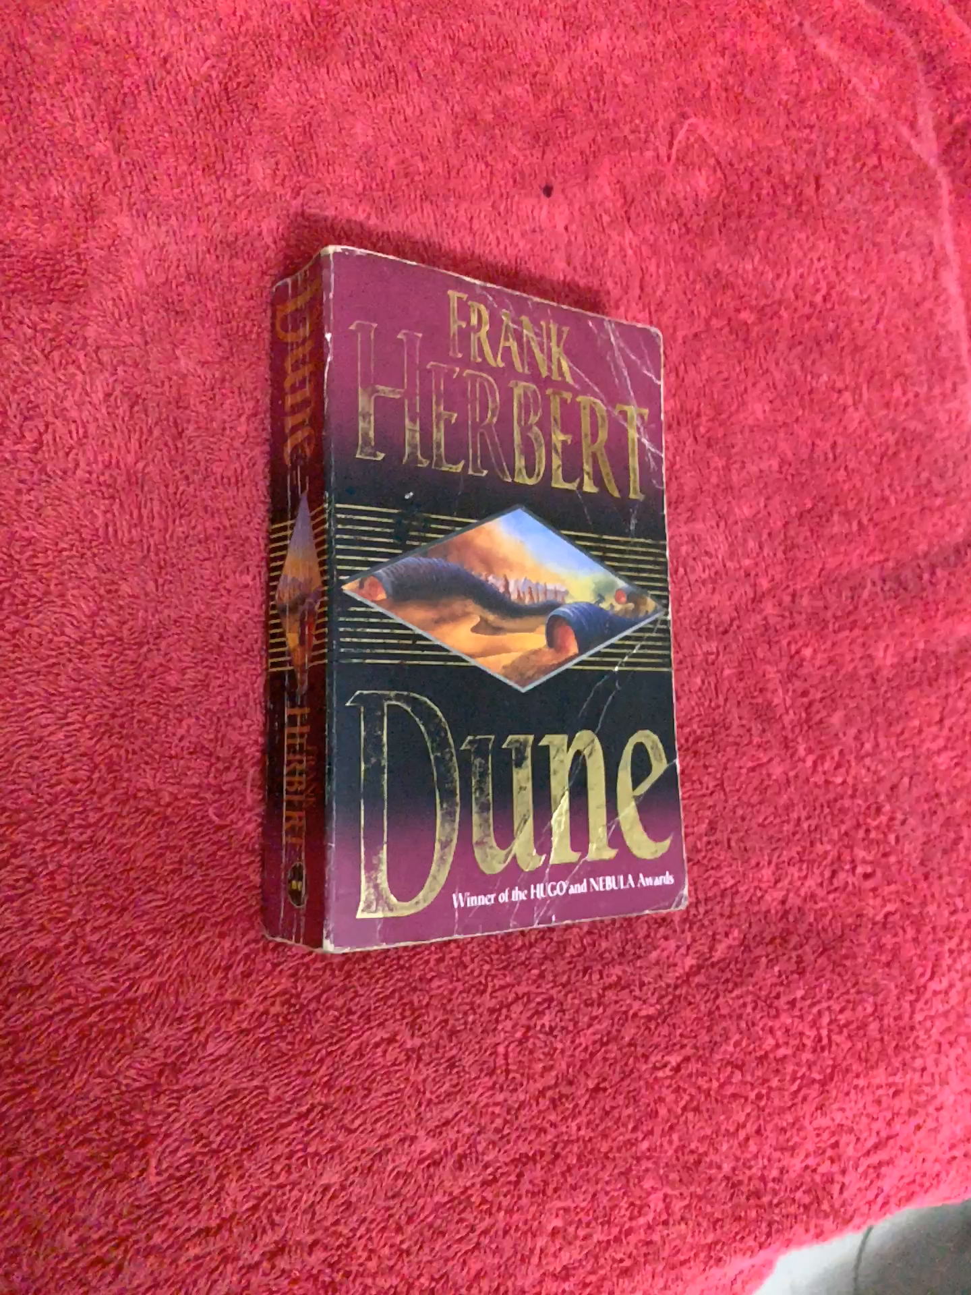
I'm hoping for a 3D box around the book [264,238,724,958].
[{"bbox_3d":[0.003,-0.011,0.273,0.114,0.039,0.165,2,82,-30],"label":"book"}]
